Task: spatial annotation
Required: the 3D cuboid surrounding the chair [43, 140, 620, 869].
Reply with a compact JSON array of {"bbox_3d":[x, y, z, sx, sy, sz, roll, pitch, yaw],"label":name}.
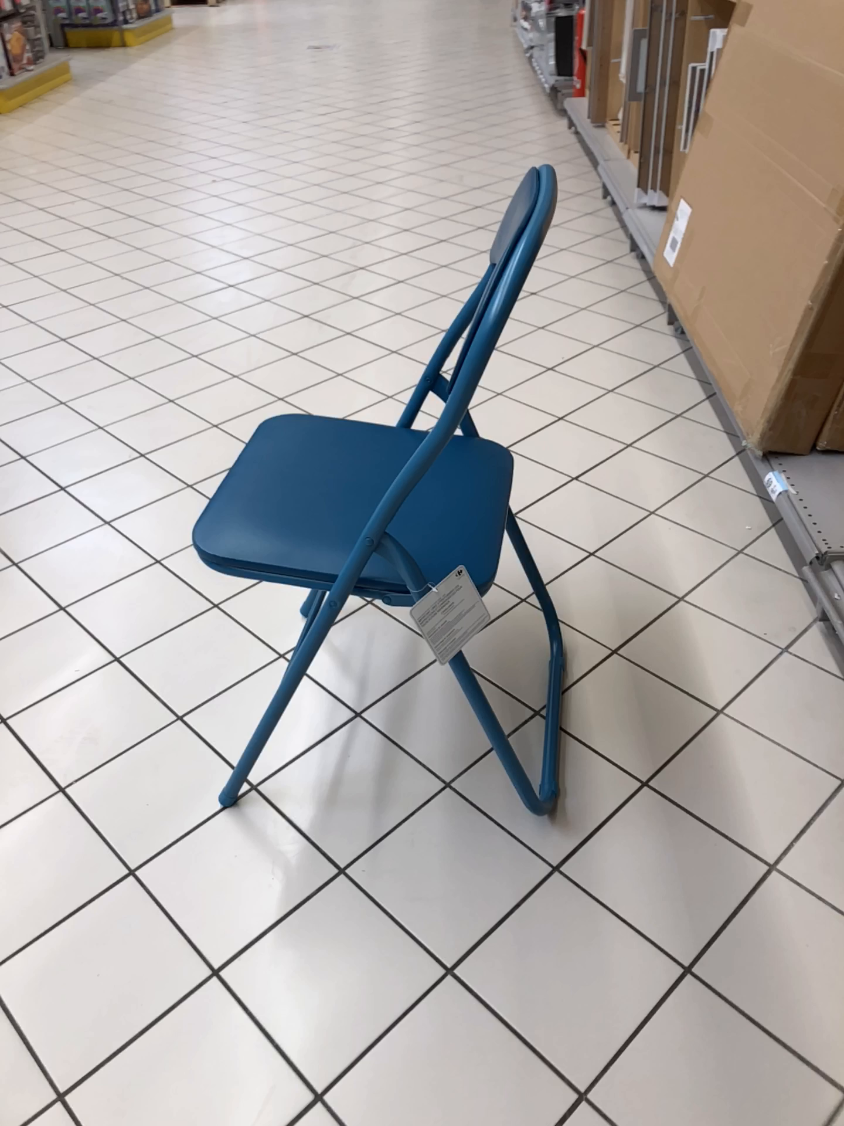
[{"bbox_3d":[-0.045,-0.089,1.224,0.500,0.765,0.503,7,35,11],"label":"chair"}]
